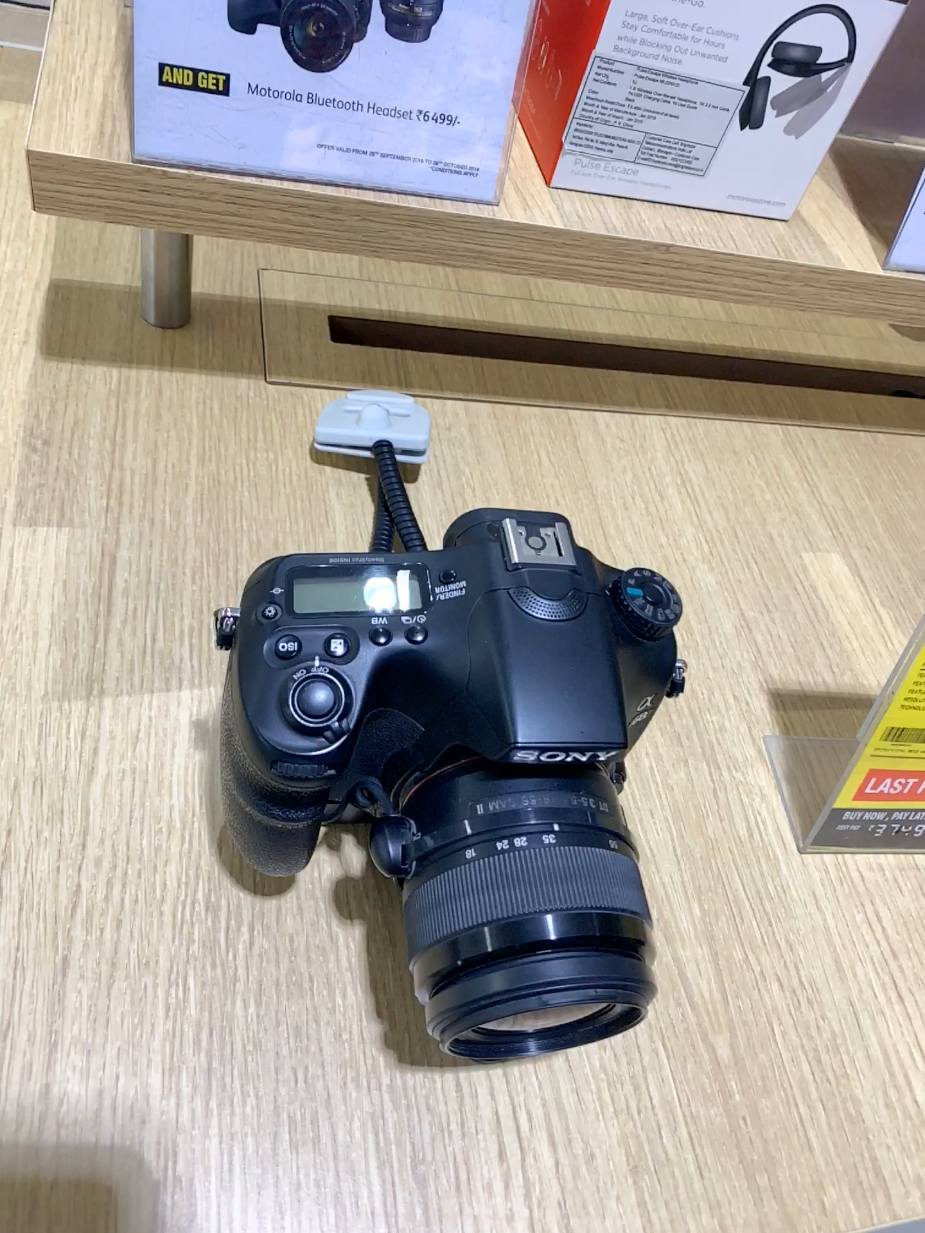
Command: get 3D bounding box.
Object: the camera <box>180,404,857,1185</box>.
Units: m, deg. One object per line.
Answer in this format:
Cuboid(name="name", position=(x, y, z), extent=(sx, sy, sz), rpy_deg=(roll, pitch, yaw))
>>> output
Cuboid(name="camera", position=(-0.005, 0.033, 0.259), extent=(0.130, 0.070, 0.180), rpy_deg=(-1, 53, -19))
